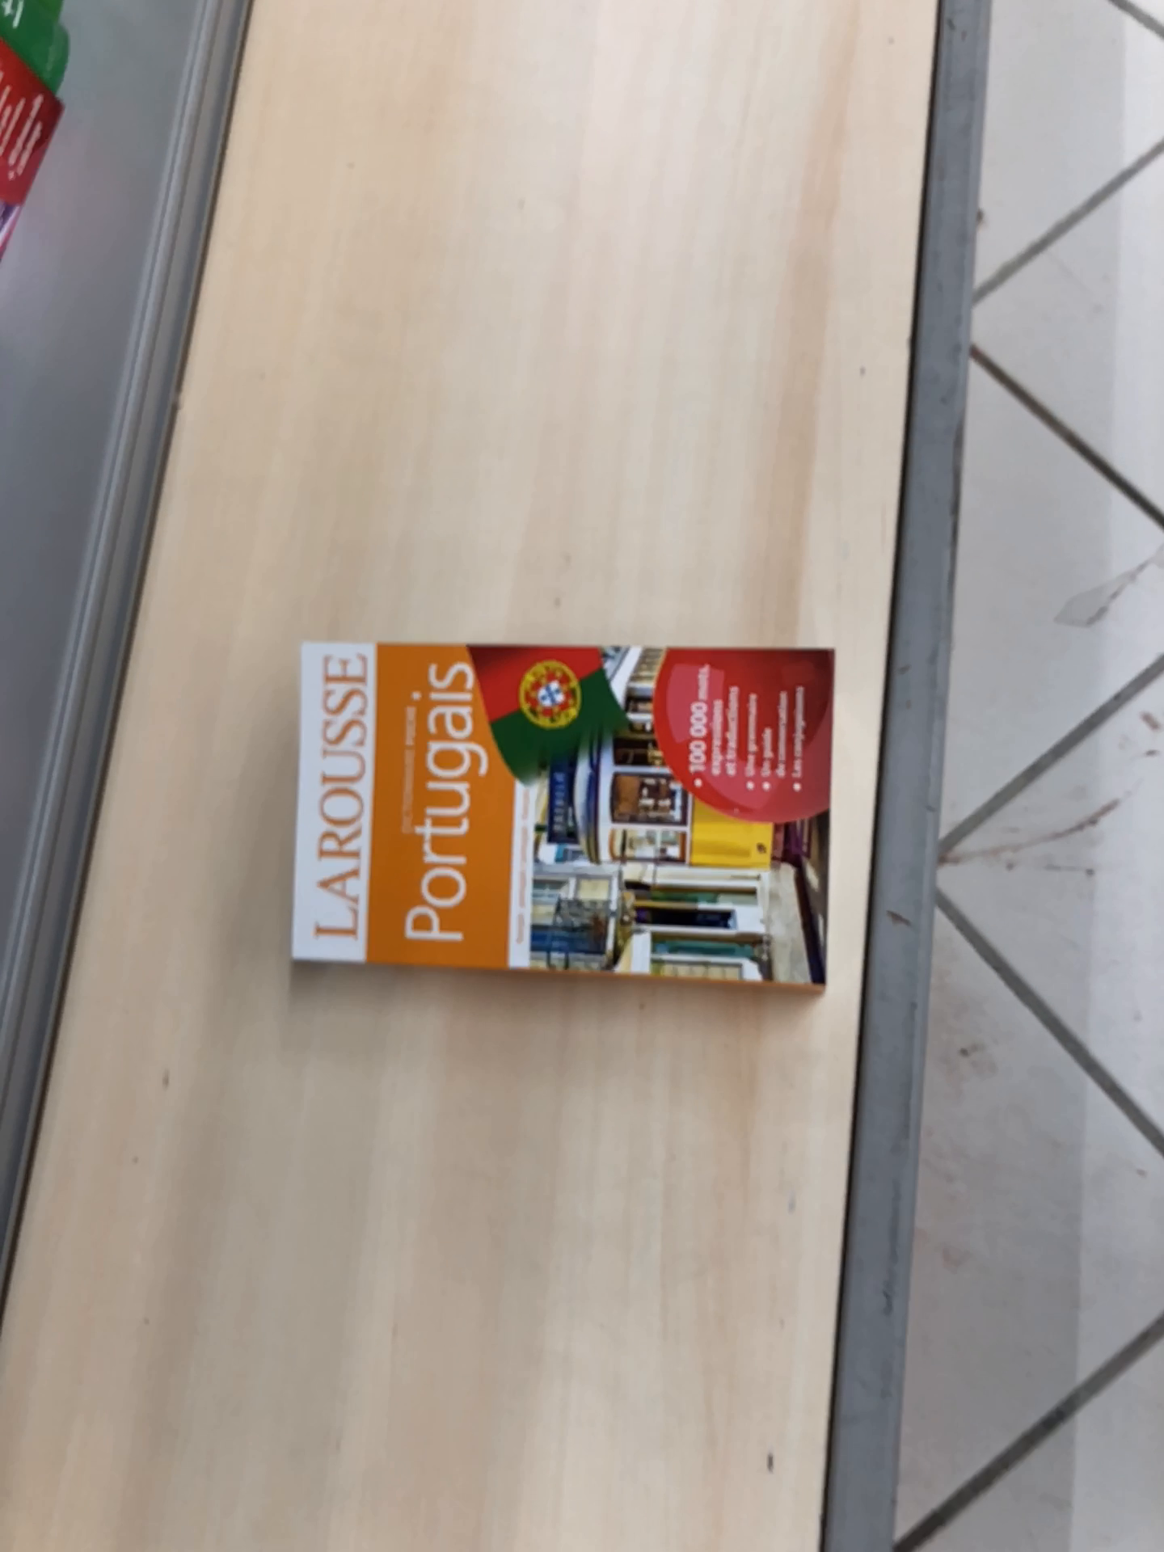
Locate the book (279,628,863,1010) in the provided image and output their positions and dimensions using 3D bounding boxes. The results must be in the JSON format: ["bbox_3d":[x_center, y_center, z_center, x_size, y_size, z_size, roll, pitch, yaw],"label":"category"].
[{"bbox_3d":[0.000,0.014,0.441,0.185,0.046,0.118,0,74,10],"label":"book"}]
